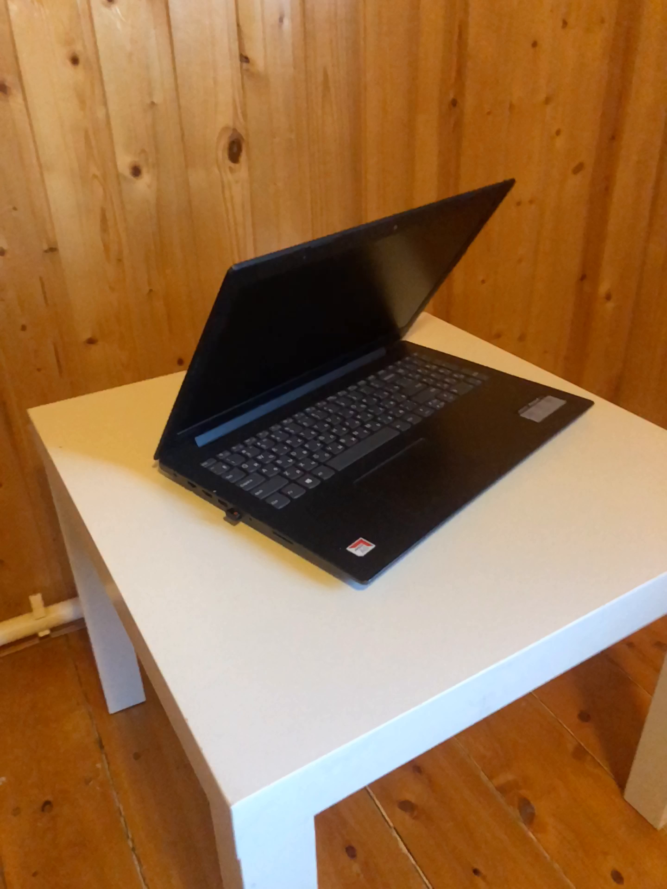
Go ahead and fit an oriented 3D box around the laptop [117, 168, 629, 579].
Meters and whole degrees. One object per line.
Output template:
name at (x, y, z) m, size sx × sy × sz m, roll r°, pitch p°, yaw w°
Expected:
laptop at (0.051, -0.104, 0.671) m, size 0.250 × 0.206 × 0.374 m, roll 24°, pitch 39°, yaw 36°
